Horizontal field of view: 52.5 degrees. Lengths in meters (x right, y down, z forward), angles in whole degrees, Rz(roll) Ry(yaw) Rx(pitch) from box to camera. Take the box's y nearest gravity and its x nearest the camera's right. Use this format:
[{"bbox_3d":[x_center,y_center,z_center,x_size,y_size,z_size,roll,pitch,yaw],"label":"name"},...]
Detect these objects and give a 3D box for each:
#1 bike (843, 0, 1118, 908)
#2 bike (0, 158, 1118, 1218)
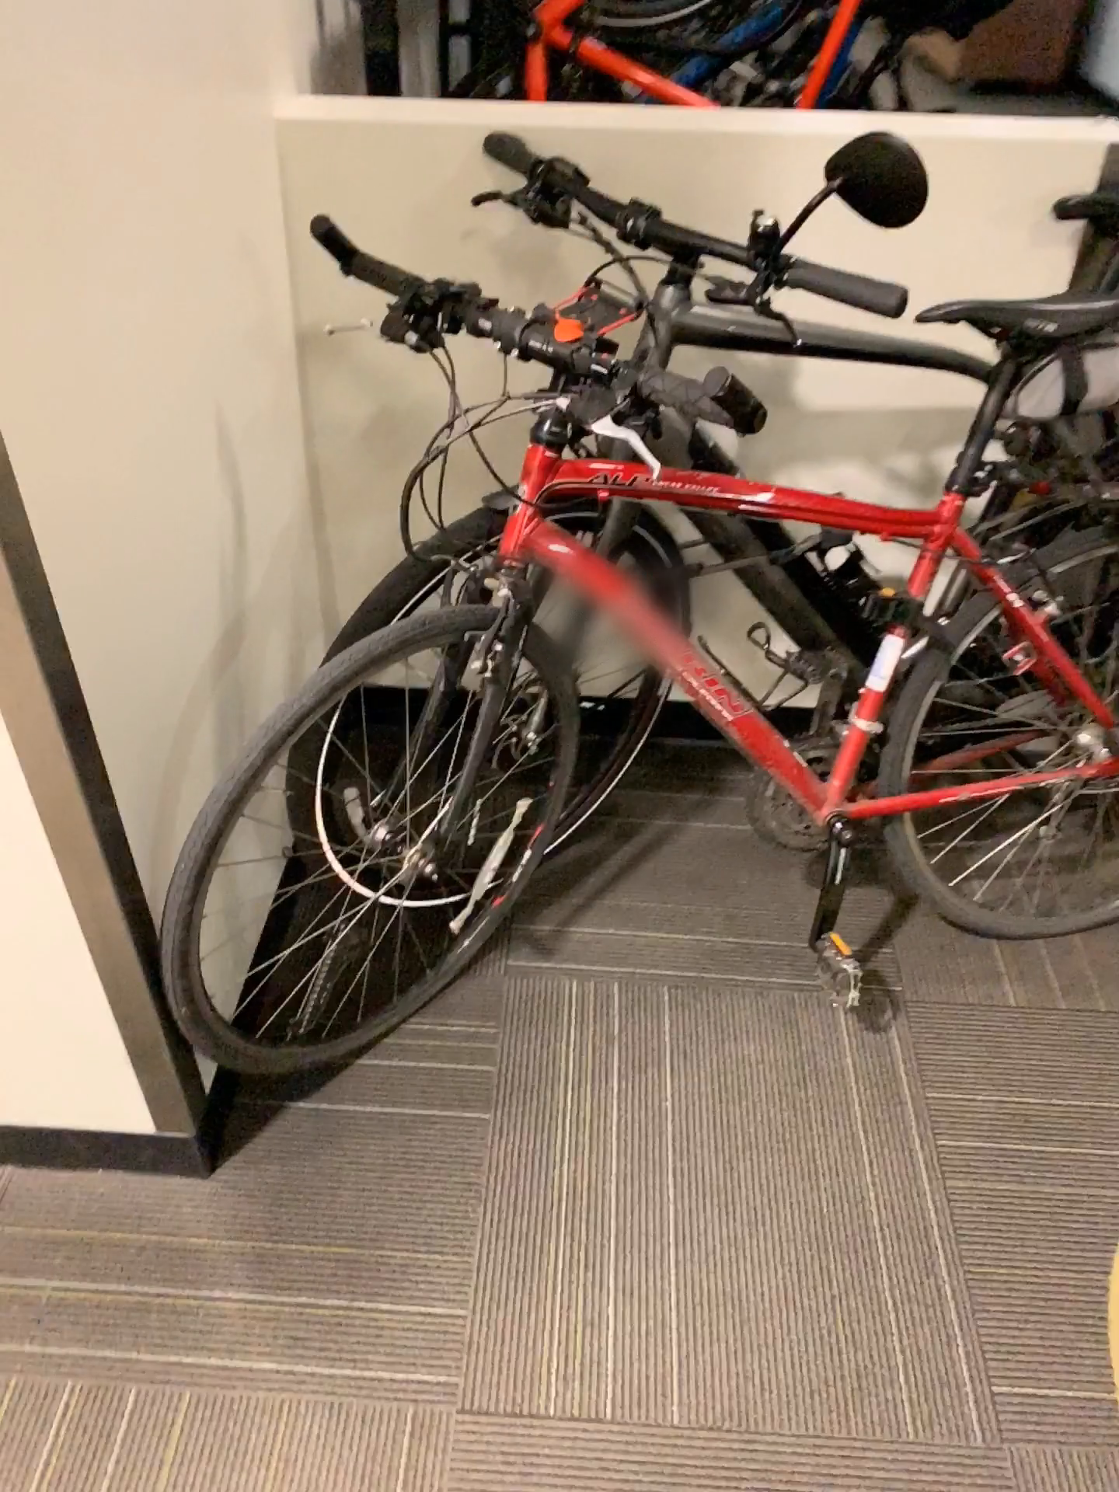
[{"bbox_3d":[0.981,-0.402,1.775,0.725,1.148,0.696,-7,39,-18],"label":"bike"},{"bbox_3d":[0.338,-0.141,1.458,1.611,0.927,0.606,-9,40,-18],"label":"bike"}]
